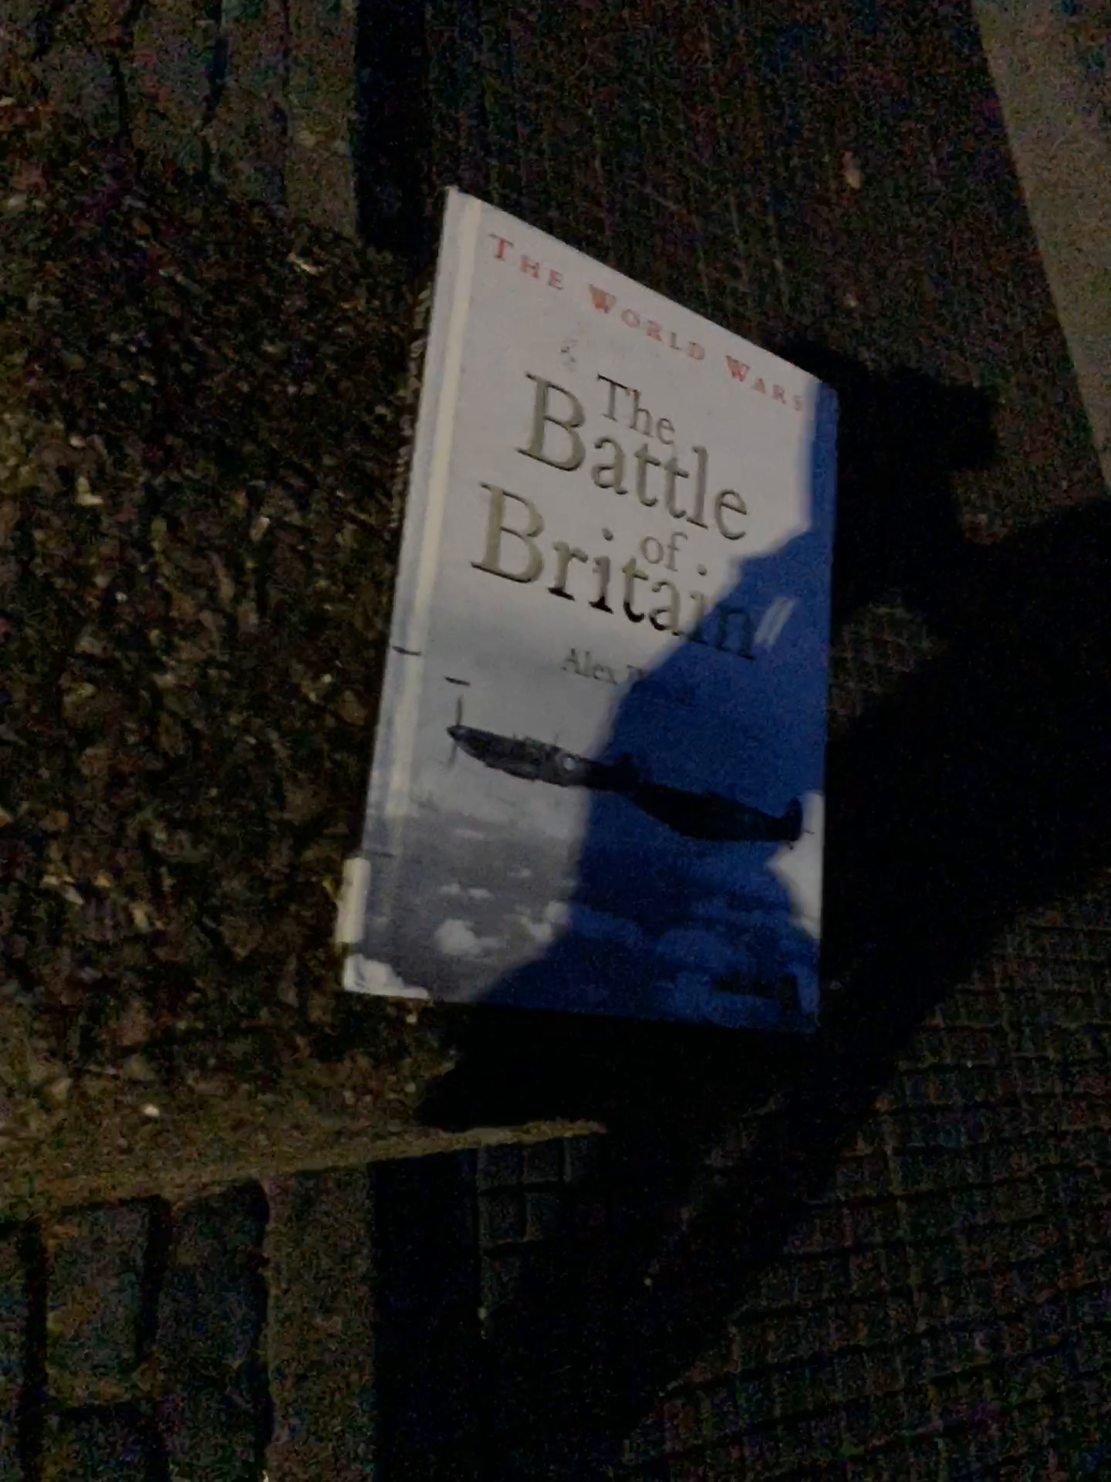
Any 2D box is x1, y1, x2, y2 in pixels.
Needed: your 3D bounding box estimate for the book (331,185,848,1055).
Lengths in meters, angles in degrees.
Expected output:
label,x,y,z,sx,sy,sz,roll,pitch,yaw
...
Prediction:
label,x,y,z,sx,sy,sz,roll,pitch,yaw
book,0.027,-0.031,0.368,0.170,0.020,0.245,15,73,-33
